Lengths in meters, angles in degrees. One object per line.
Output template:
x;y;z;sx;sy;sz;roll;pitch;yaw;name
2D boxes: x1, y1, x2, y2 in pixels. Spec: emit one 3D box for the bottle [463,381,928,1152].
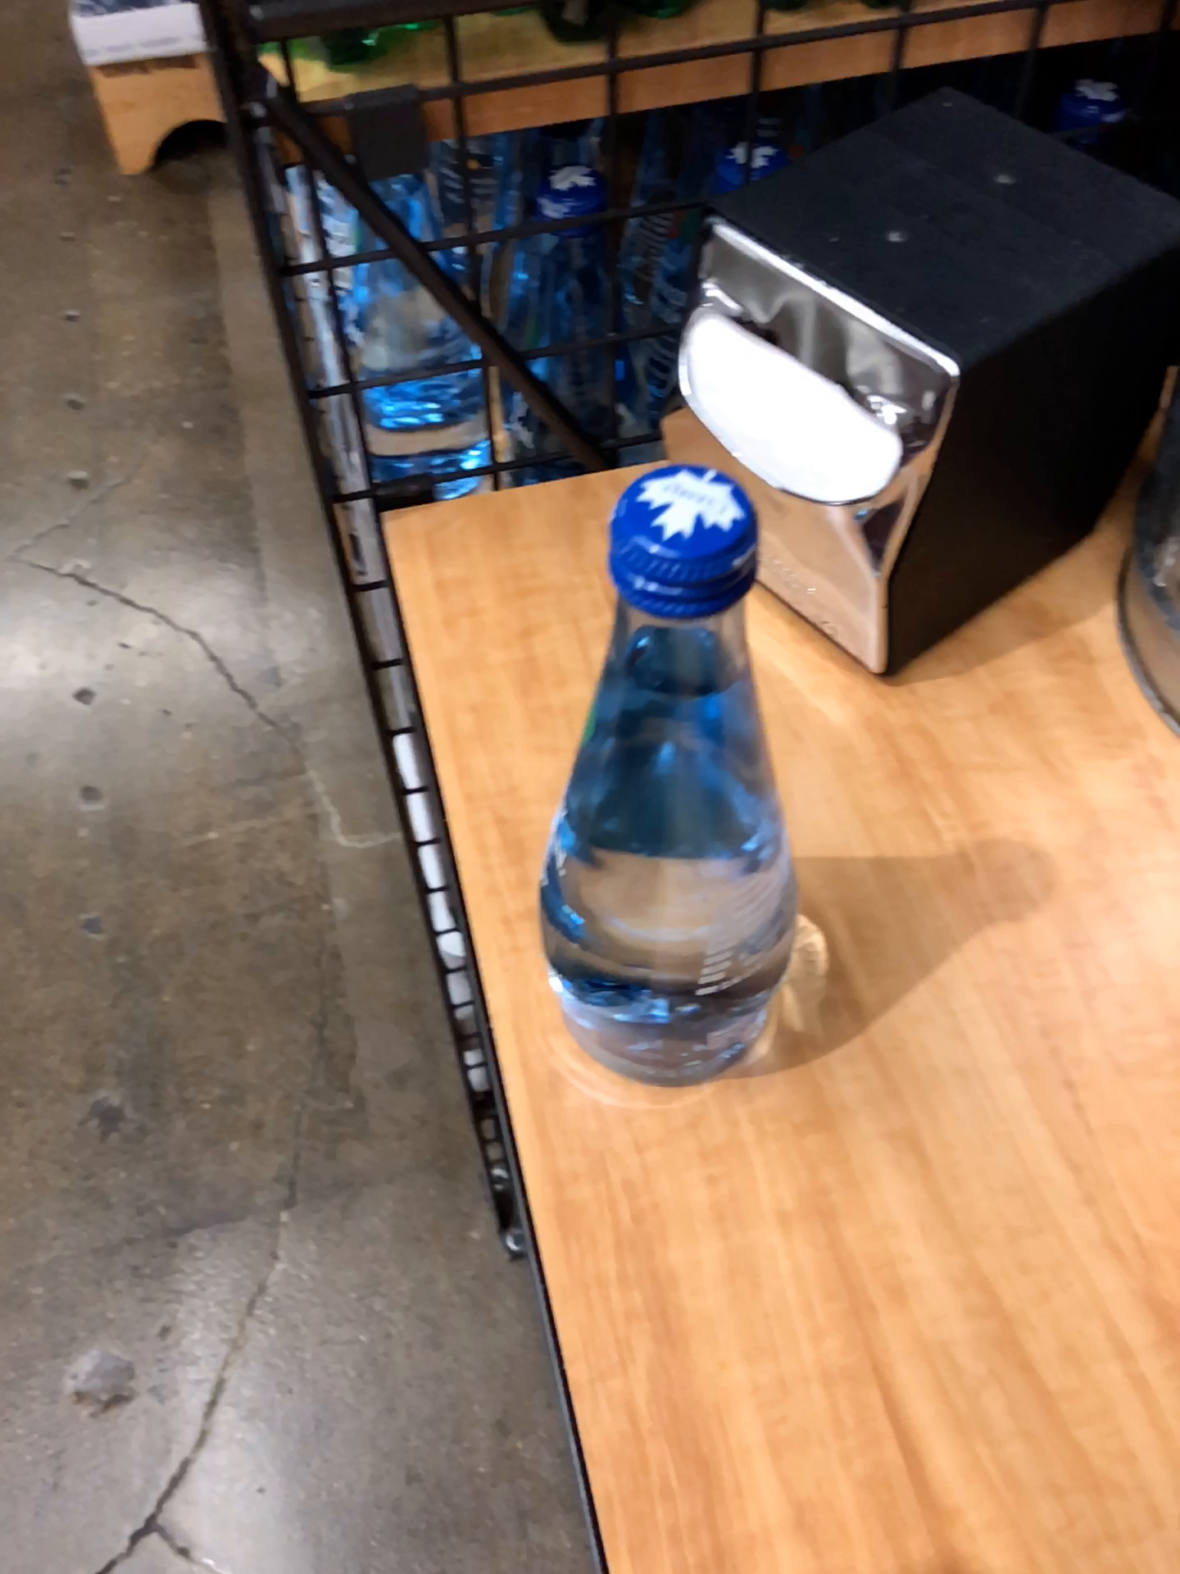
0.021;0.011;0.301;0.060;0.190;0.060;0;54;1;bottle
